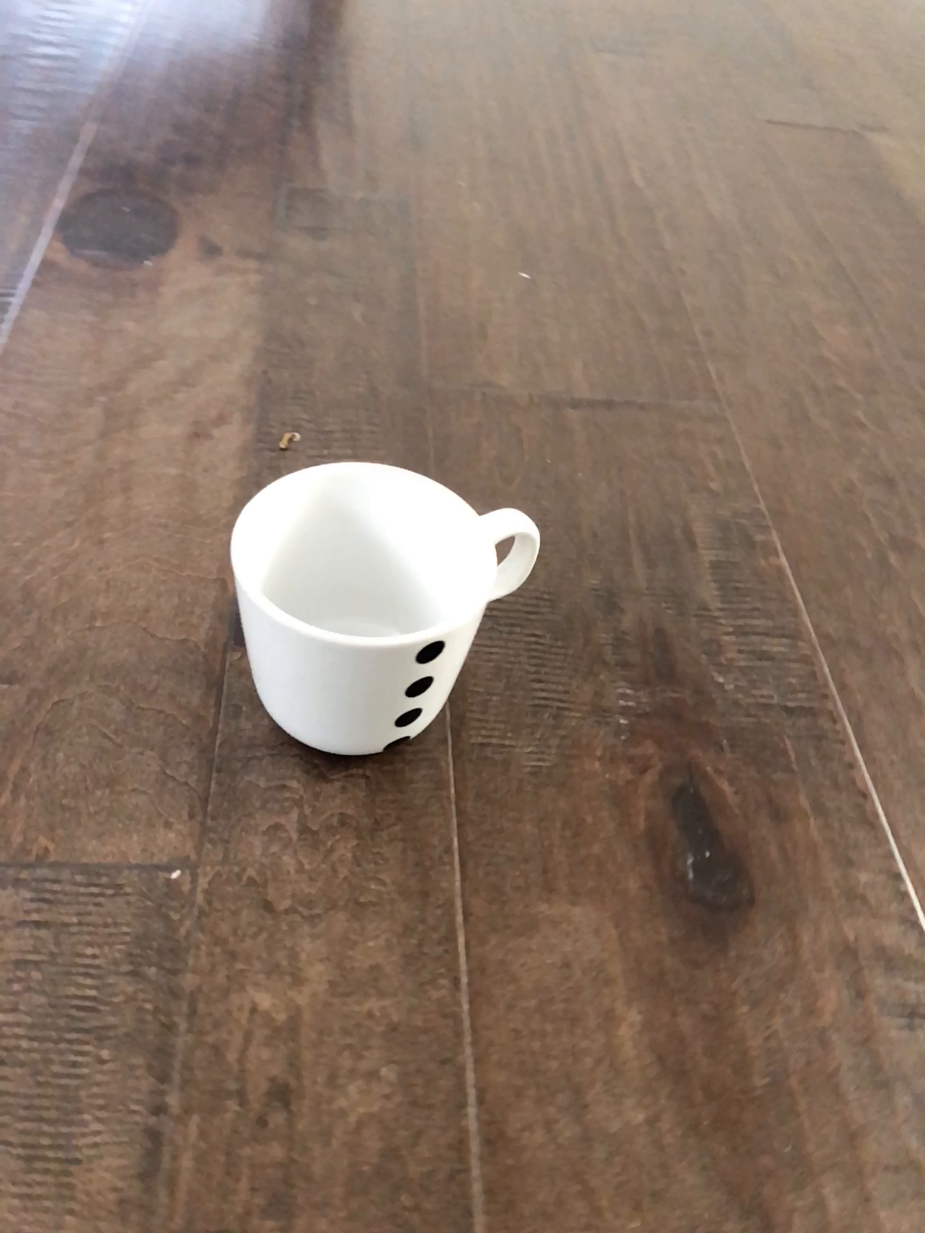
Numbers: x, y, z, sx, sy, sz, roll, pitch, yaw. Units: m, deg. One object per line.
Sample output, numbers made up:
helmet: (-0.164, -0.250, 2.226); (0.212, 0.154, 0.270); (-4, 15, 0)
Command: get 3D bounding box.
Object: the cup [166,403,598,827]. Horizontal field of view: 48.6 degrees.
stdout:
cup: (-0.031, -0.005, 0.361); (0.111, 0.079, 0.090); (-21, 55, -27)
